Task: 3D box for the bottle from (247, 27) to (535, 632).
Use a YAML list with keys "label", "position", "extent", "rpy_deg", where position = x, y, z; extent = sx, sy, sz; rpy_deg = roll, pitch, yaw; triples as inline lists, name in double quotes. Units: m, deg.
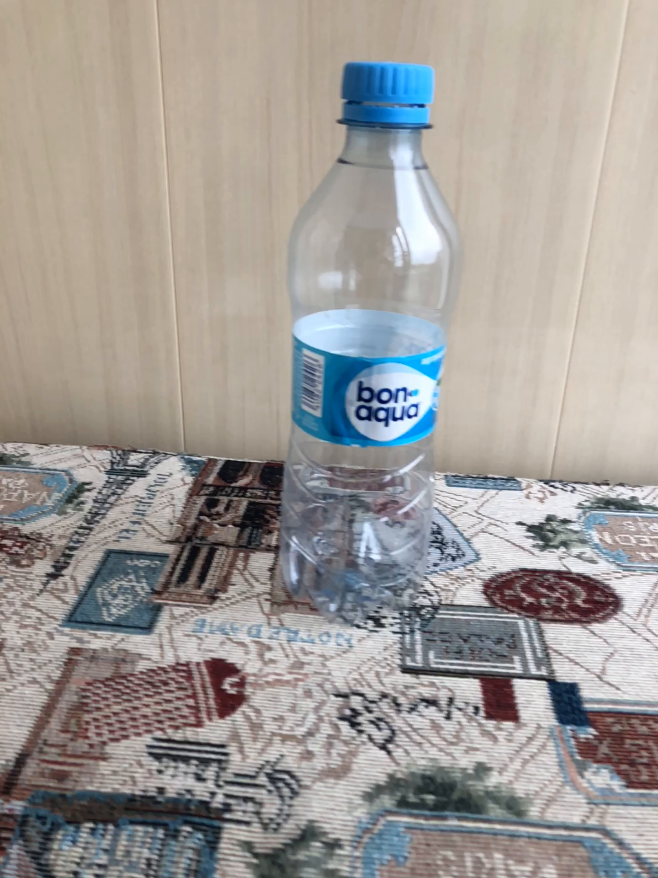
- label: "bottle"
  position: [0.014, -0.036, 0.282]
  extent: [0.080, 0.209, 0.070]
  rpy_deg: [-3, 24, -10]
